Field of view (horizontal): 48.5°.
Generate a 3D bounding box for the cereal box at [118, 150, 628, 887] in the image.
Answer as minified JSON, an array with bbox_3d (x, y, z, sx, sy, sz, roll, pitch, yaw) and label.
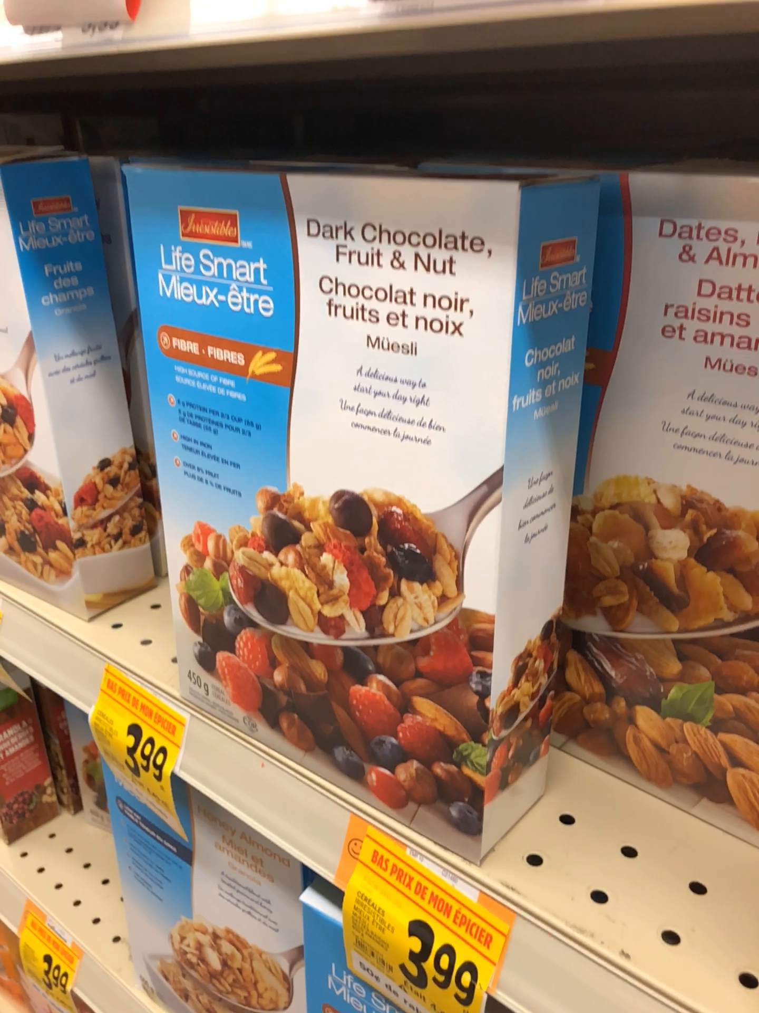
[{"bbox_3d":[-0.011,-0.004,0.319,0.171,0.238,0.050,18,29,35],"label":"cereal box"}]
